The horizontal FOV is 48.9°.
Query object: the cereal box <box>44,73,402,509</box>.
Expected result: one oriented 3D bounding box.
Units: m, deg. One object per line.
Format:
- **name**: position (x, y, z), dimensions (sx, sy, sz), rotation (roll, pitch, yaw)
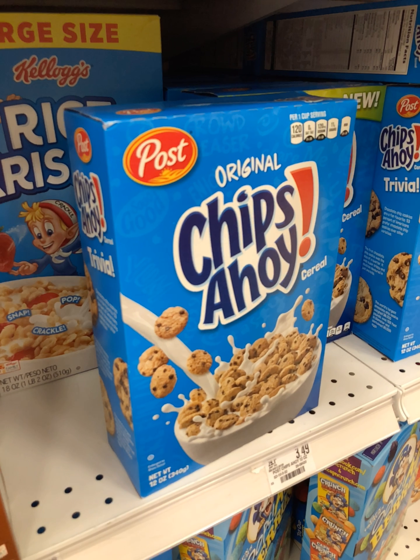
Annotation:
- **cereal box**: position (0.014, -0.001, 0.332), dimensions (0.200, 0.259, 0.080), rotation (-17, 32, -30)
